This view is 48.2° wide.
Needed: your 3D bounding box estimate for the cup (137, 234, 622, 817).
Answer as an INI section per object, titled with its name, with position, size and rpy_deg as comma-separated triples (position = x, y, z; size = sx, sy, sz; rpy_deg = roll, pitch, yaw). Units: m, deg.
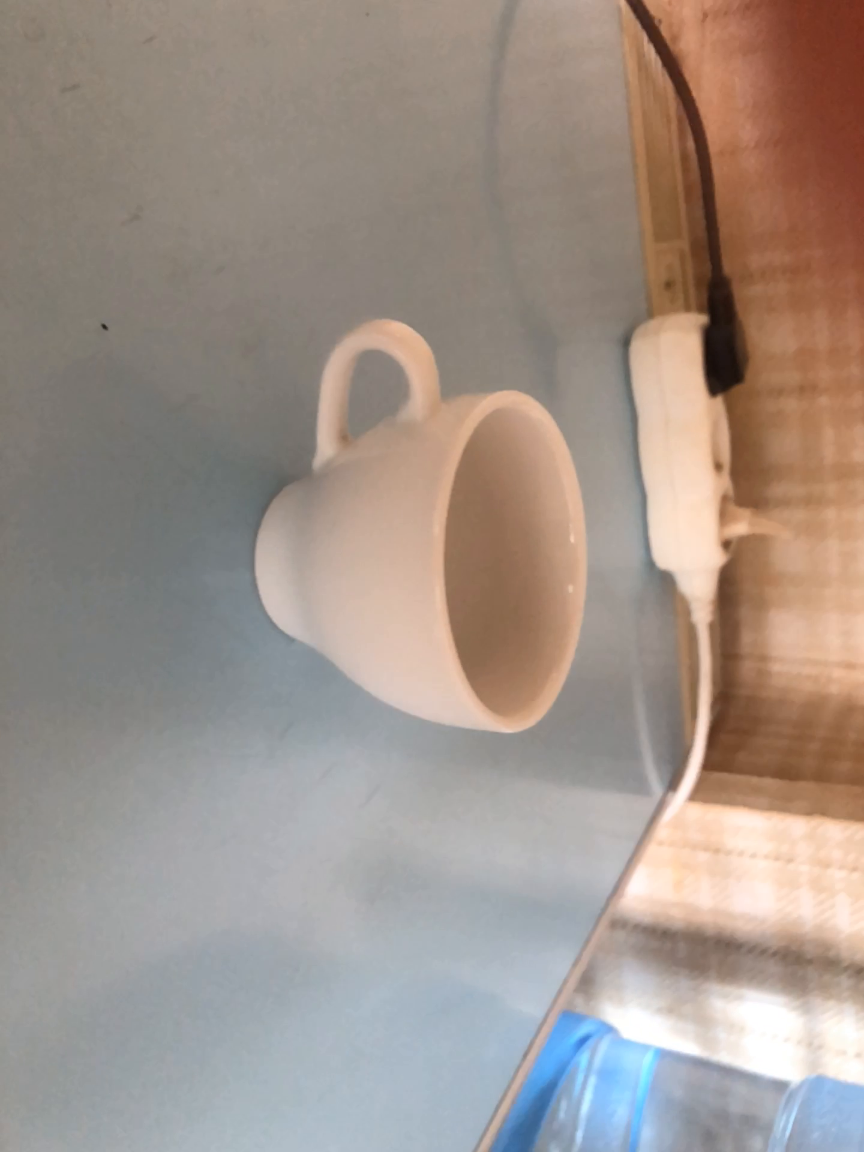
[cup]
position = -0.002, -0.014, 0.251
size = 0.097, 0.057, 0.106
rpy_deg = -1, 91, -60
